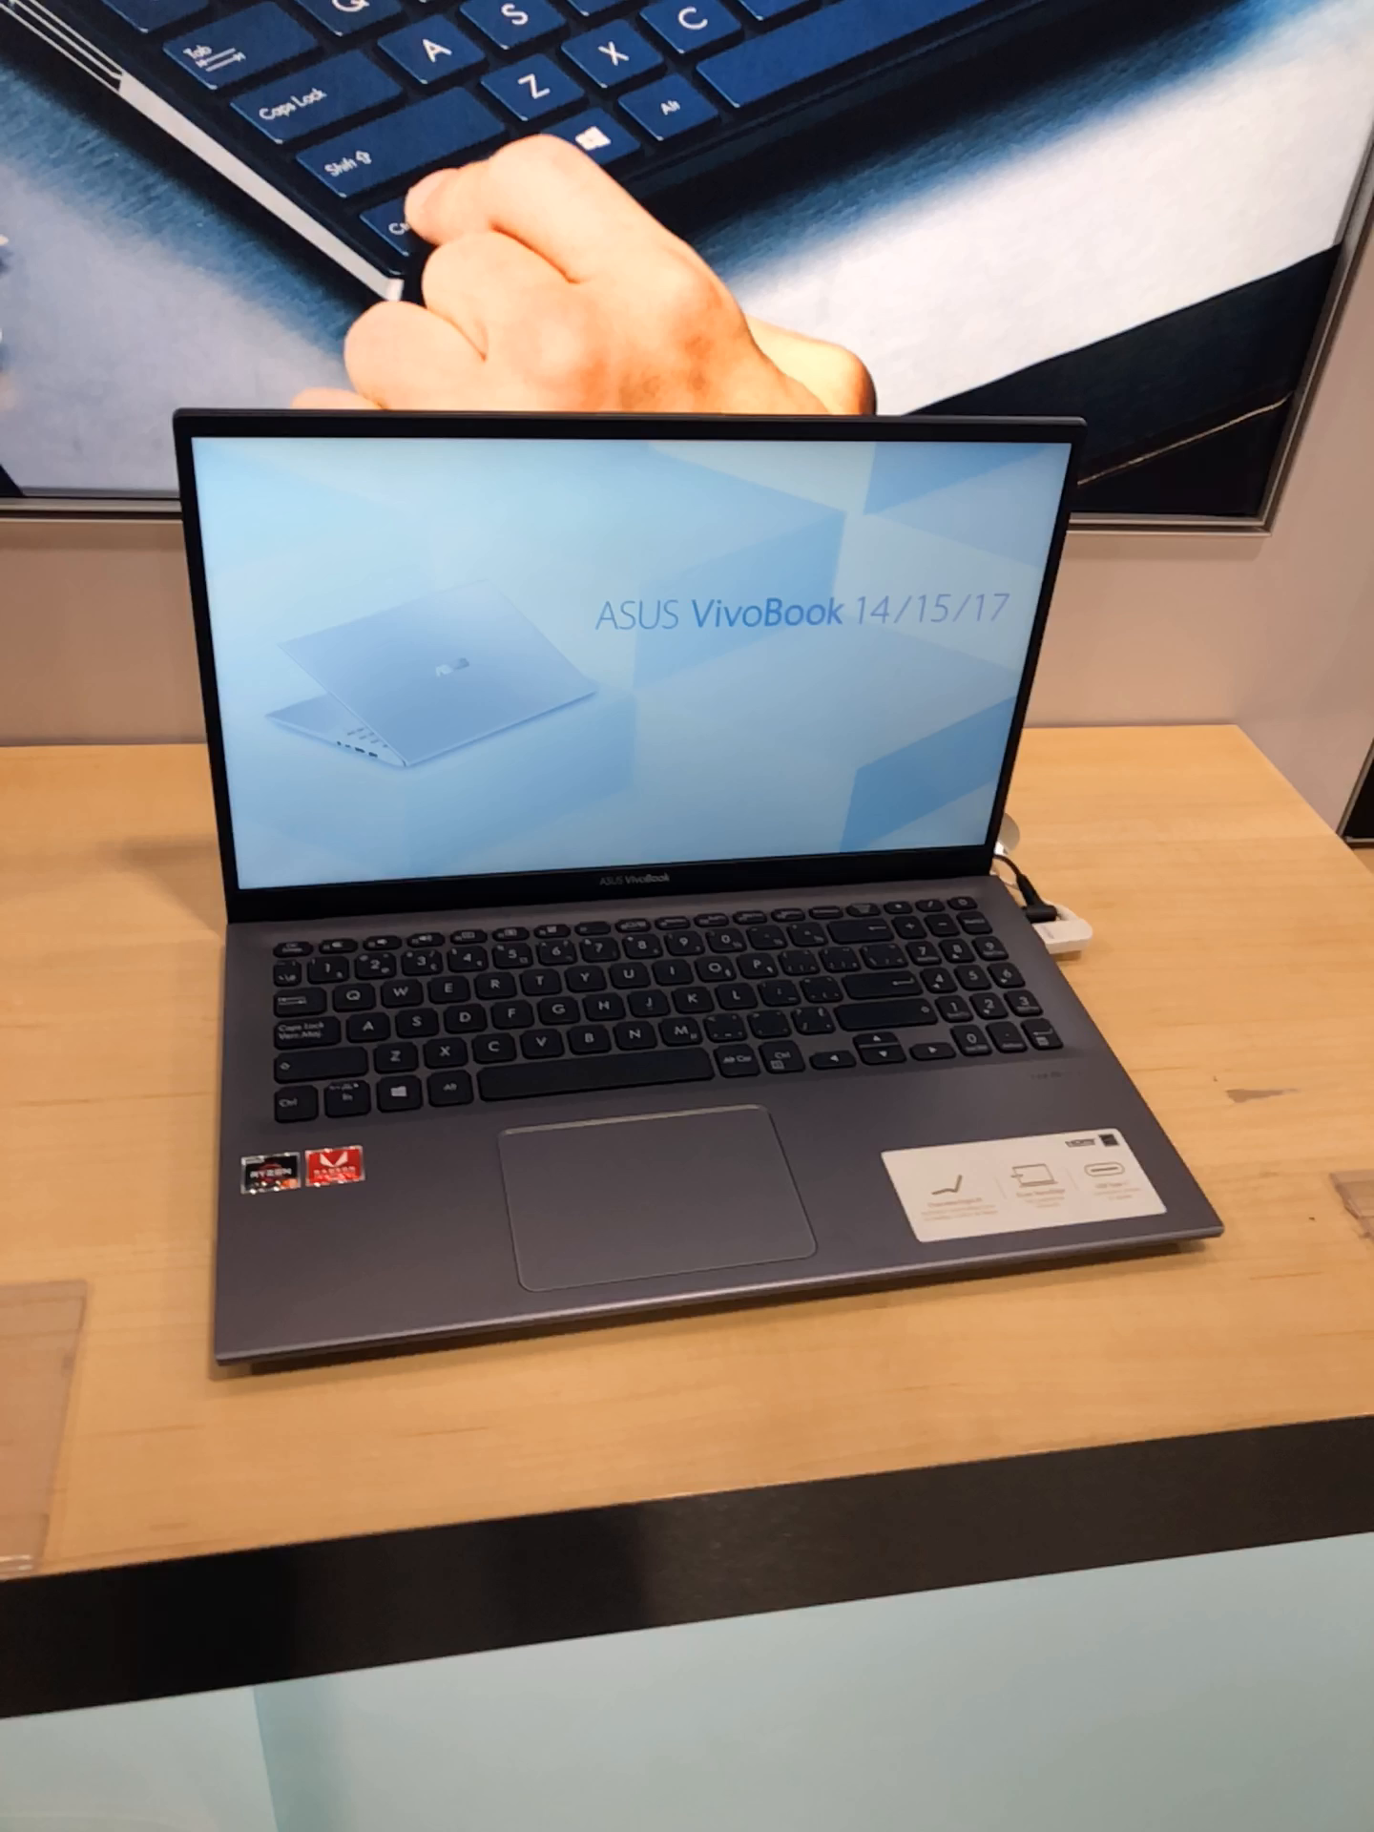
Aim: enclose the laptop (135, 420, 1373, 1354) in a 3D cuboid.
[{"bbox_3d":[0.009,-0.029,0.538,0.349,0.211,0.242,-3,37,-13],"label":"laptop"}]
